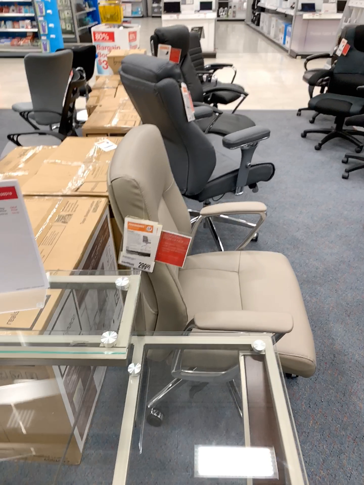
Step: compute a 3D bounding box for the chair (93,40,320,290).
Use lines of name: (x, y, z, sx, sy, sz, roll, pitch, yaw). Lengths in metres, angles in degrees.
chair: (0.081, -0.498, 2.128, 0.815, 1.056, 0.814, -17, 37, -23)

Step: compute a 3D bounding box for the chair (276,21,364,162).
chair: (1.582, -1.491, 3.574, 0.936, 1.016, 0.813, -27, 42, -34)

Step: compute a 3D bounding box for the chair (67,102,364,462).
chair: (0.141, 0.114, 1.261, 0.674, 0.956, 0.695, 2, 34, 4)
